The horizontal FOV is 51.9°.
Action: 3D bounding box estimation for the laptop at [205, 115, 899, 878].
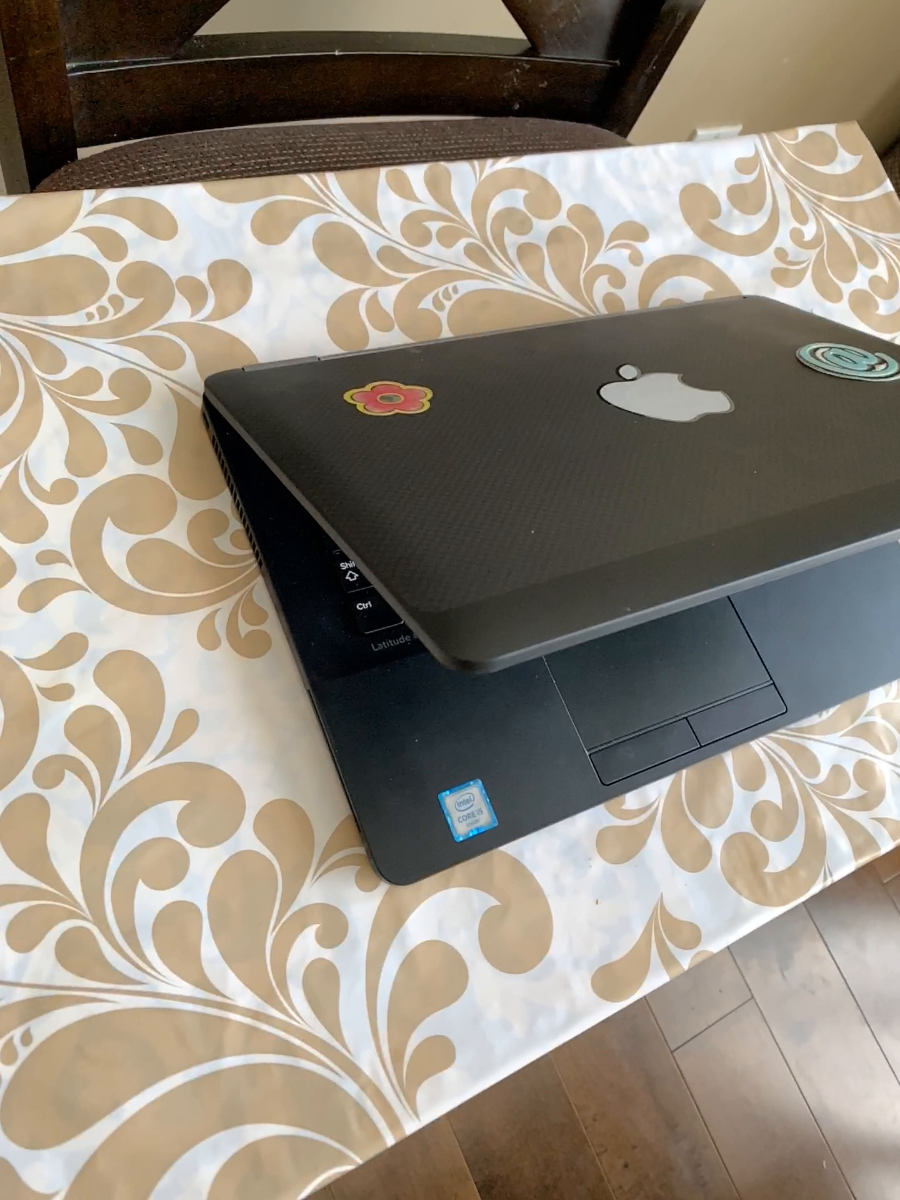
[{"bbox_3d":[0.092,-0.054,0.349,0.301,0.127,0.199,-15,73,-26],"label":"laptop"}]
